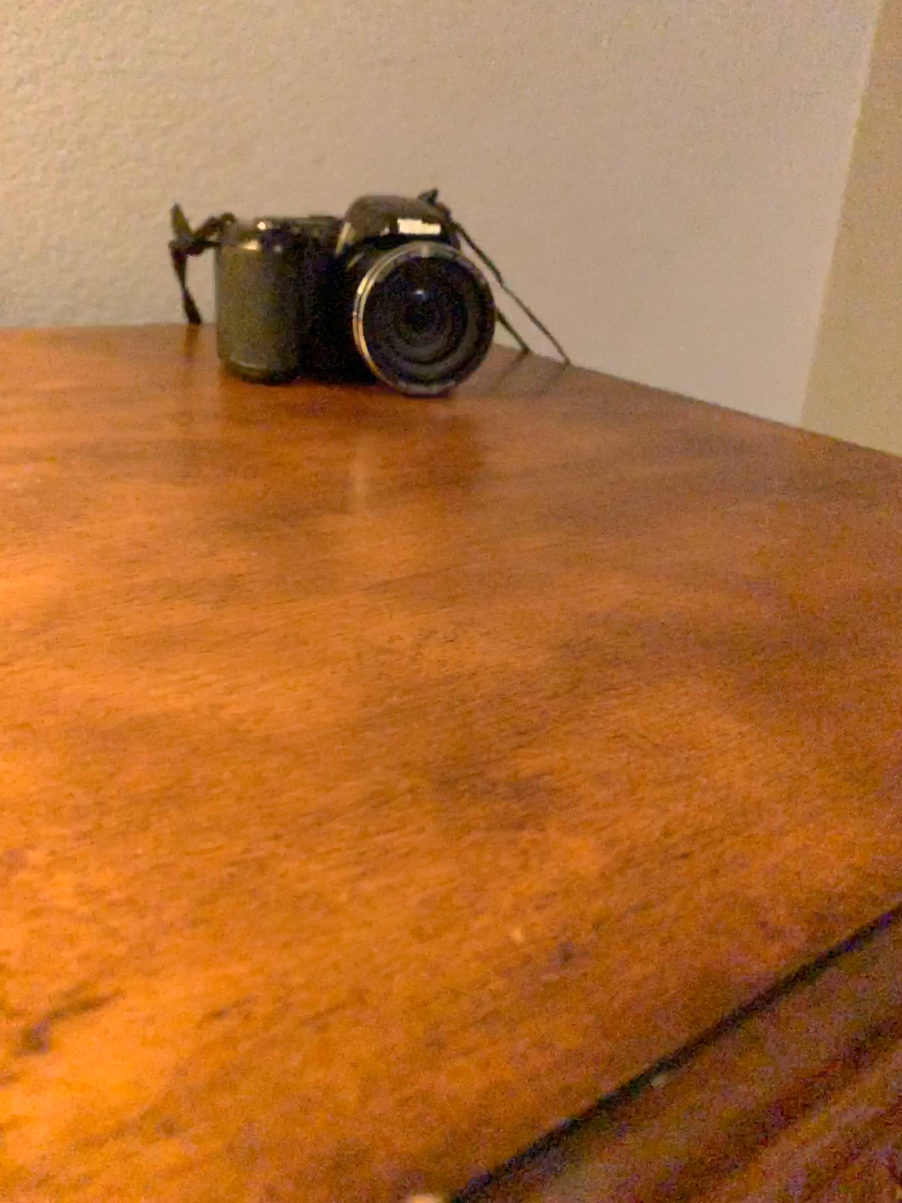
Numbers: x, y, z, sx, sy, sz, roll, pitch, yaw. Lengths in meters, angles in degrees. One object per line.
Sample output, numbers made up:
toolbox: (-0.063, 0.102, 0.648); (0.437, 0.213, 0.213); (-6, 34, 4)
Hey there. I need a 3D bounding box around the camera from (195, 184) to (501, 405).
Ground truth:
camera: (-0.054, -0.147, 0.439); (0.110, 0.081, 0.123); (-5, 25, -19)
